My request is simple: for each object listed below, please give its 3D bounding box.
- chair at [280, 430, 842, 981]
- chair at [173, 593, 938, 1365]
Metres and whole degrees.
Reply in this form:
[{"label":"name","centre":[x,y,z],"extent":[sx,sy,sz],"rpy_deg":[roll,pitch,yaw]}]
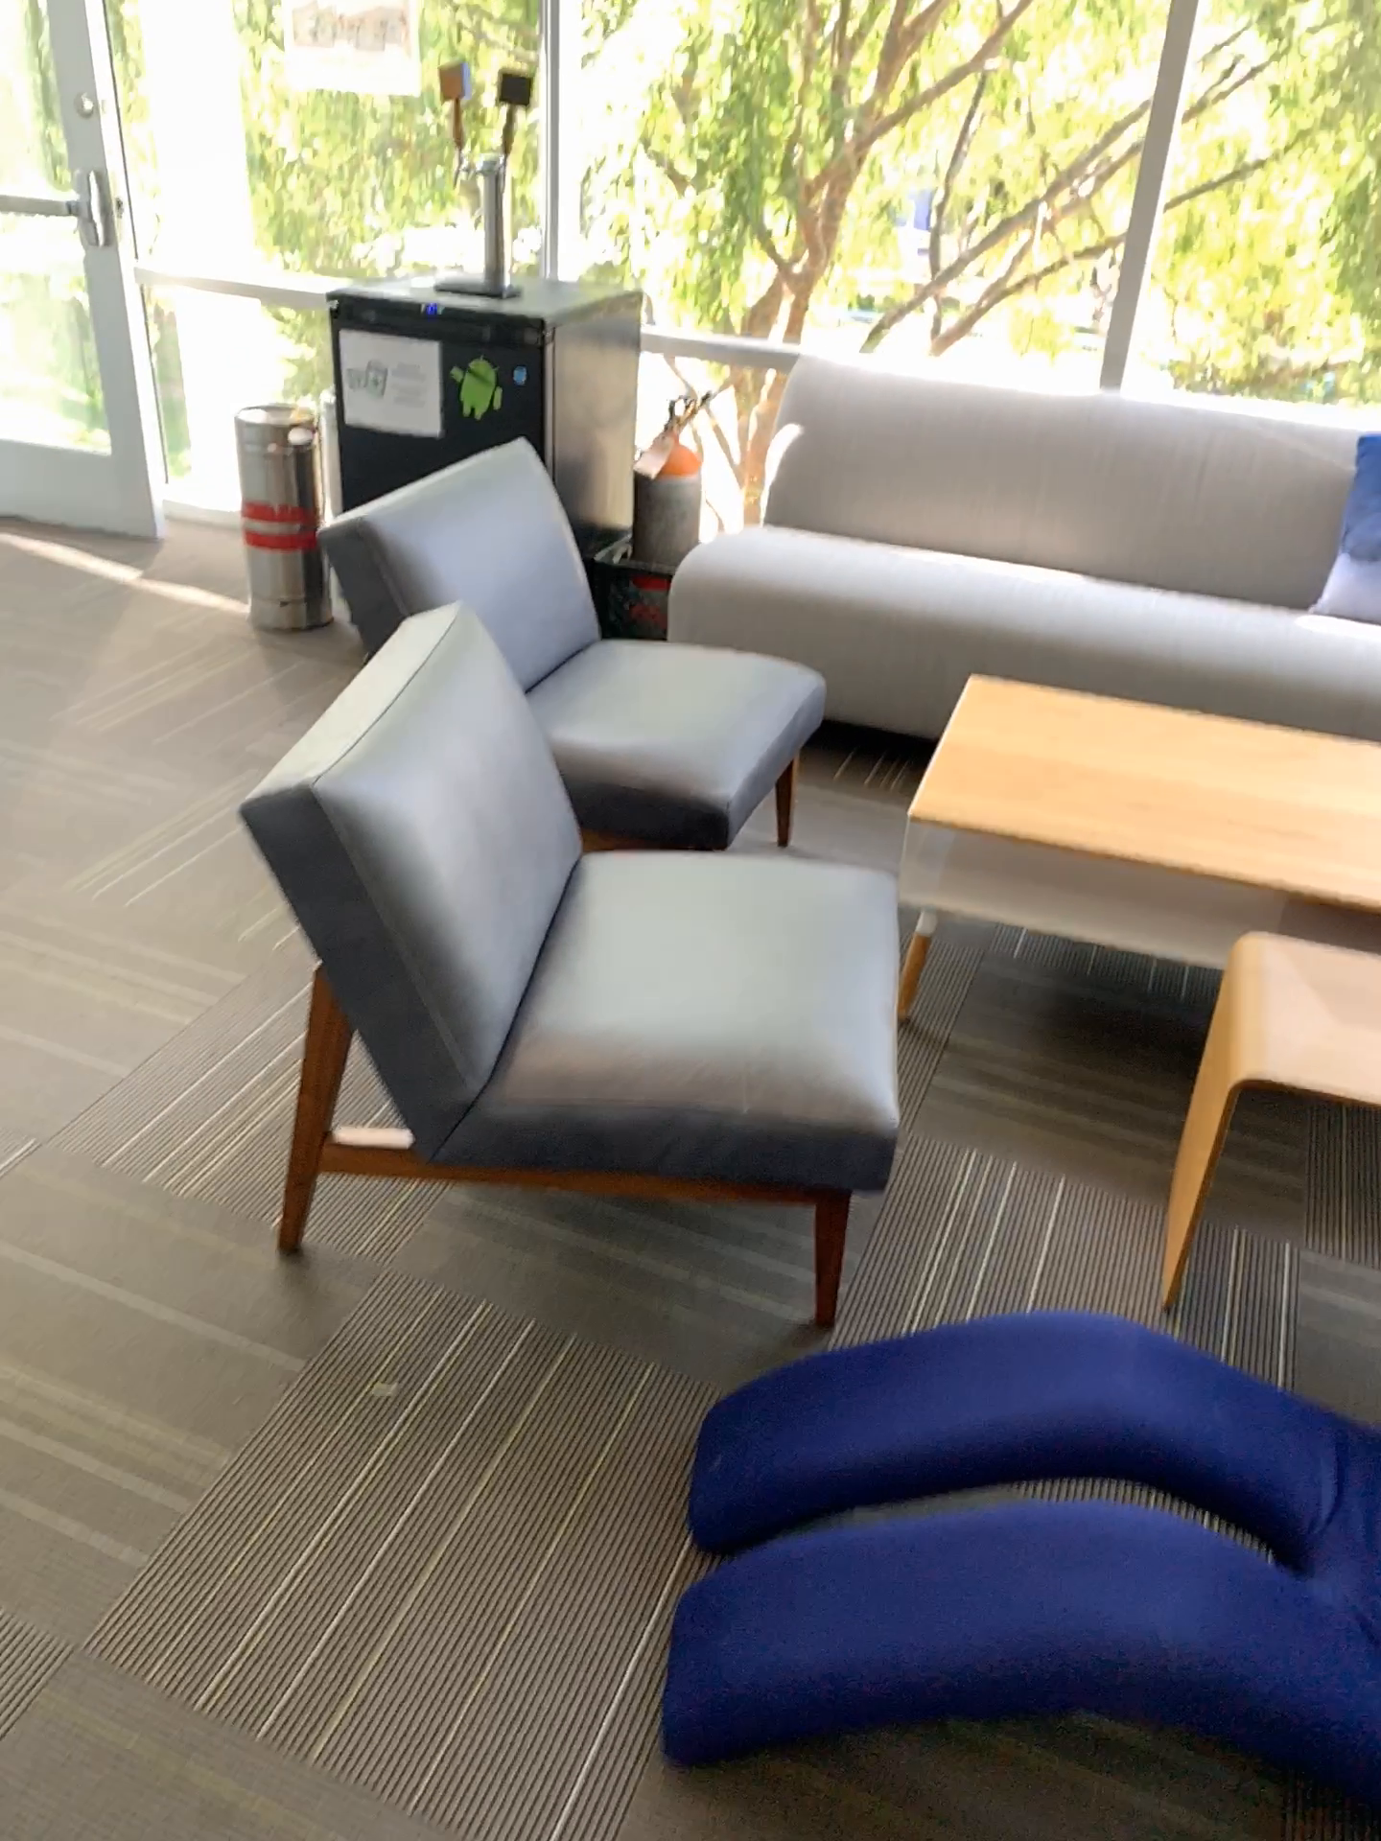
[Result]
[{"label":"chair","centre":[-0.228,-0.479,2.879],"extent":[0.851,0.766,0.743],"rpy_deg":[12,32,13]},{"label":"chair","centre":[-0.138,0.050,2.030],"extent":[0.850,0.766,0.684],"rpy_deg":[6,31,4]}]
